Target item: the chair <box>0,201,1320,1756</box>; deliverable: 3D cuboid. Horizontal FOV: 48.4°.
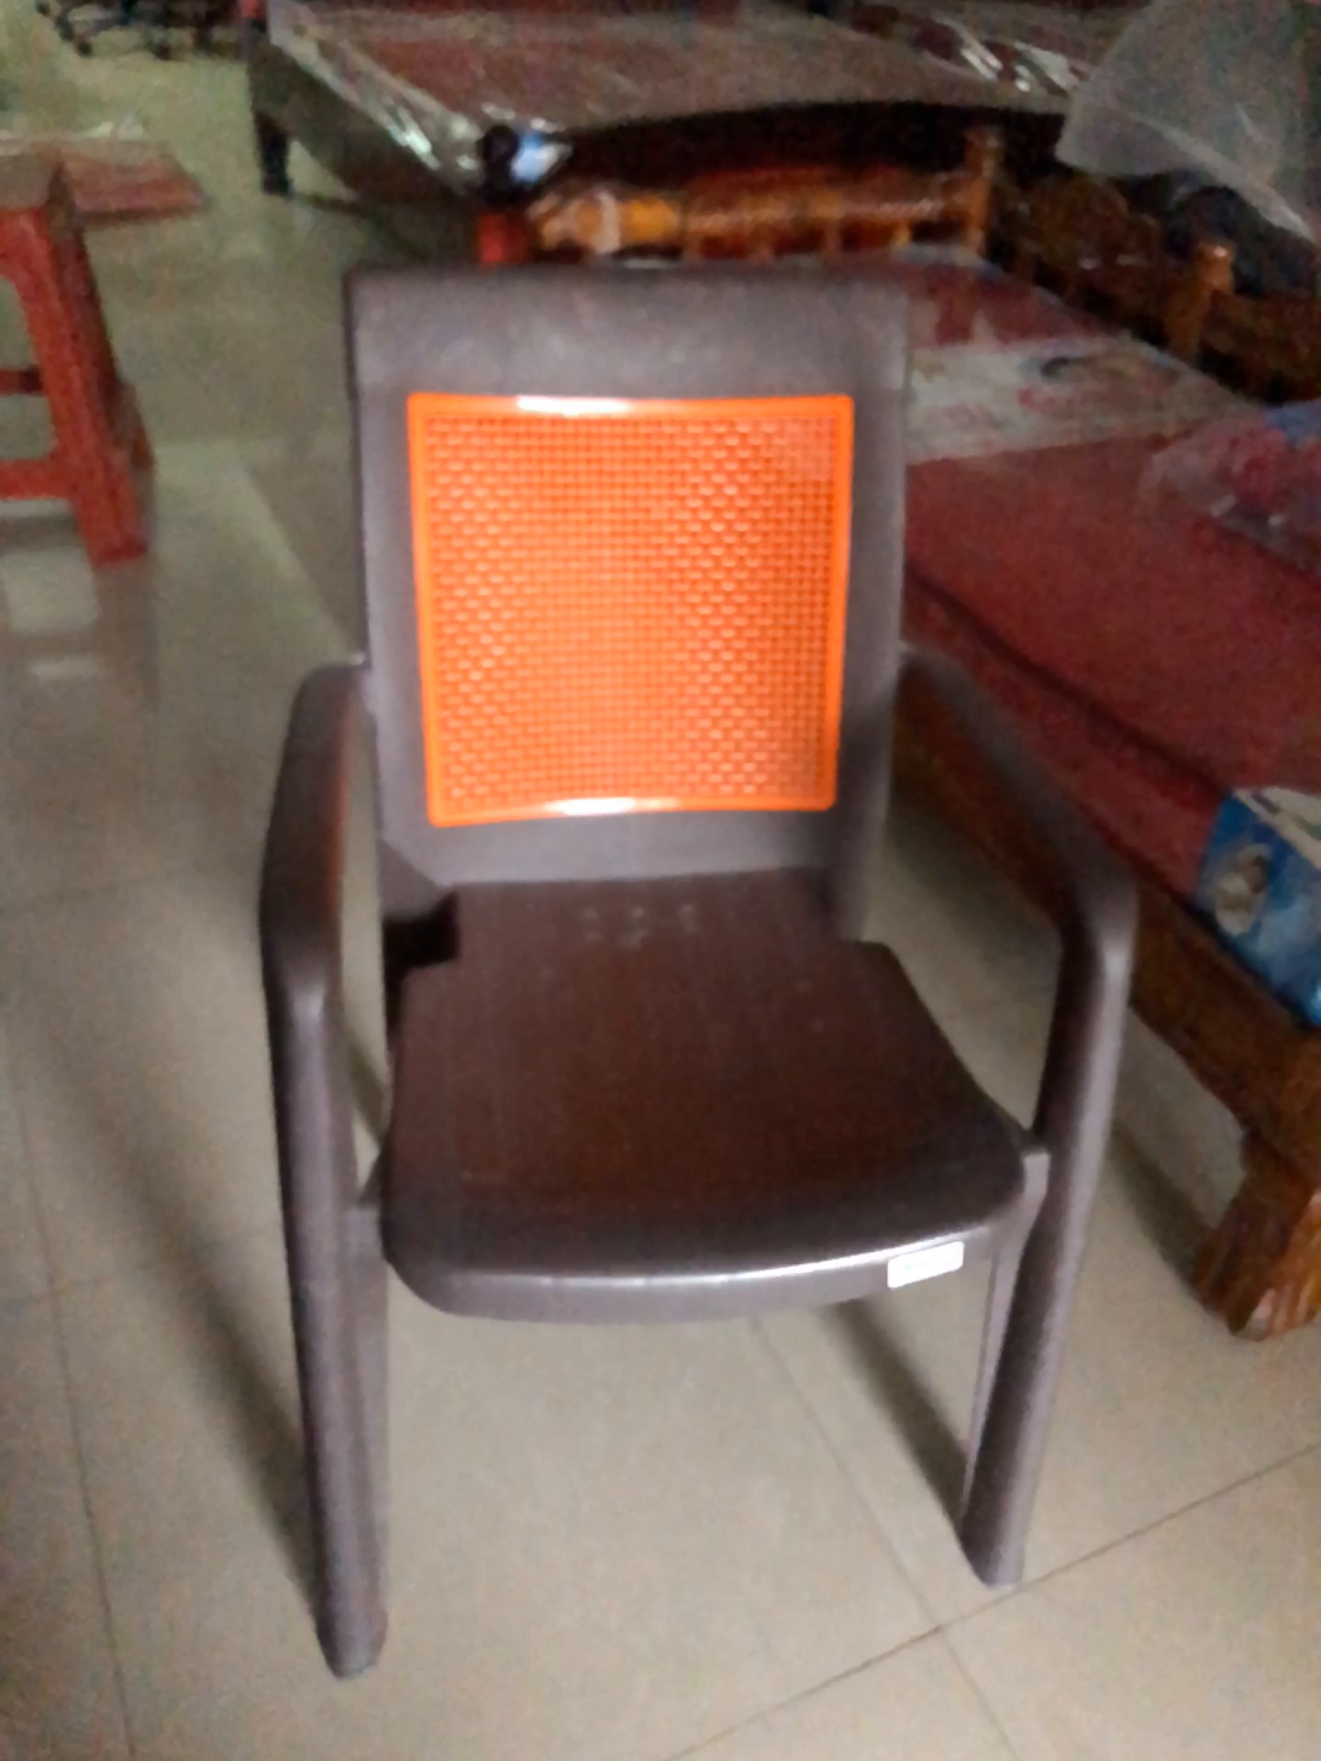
[{"bbox_3d":[-0.043,0.061,1.173,0.711,0.935,0.713,-3,39,-10],"label":"chair"}]
